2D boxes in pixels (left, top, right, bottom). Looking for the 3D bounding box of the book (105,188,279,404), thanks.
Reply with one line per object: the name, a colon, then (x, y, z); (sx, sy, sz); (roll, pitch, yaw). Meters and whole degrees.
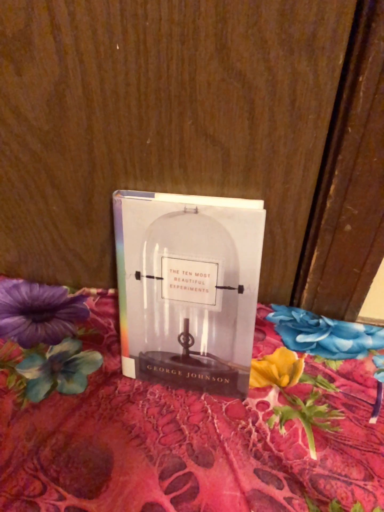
book: (-0.003, 0.040, 0.391); (0.140, 0.190, 0.033); (6, 24, 8)
